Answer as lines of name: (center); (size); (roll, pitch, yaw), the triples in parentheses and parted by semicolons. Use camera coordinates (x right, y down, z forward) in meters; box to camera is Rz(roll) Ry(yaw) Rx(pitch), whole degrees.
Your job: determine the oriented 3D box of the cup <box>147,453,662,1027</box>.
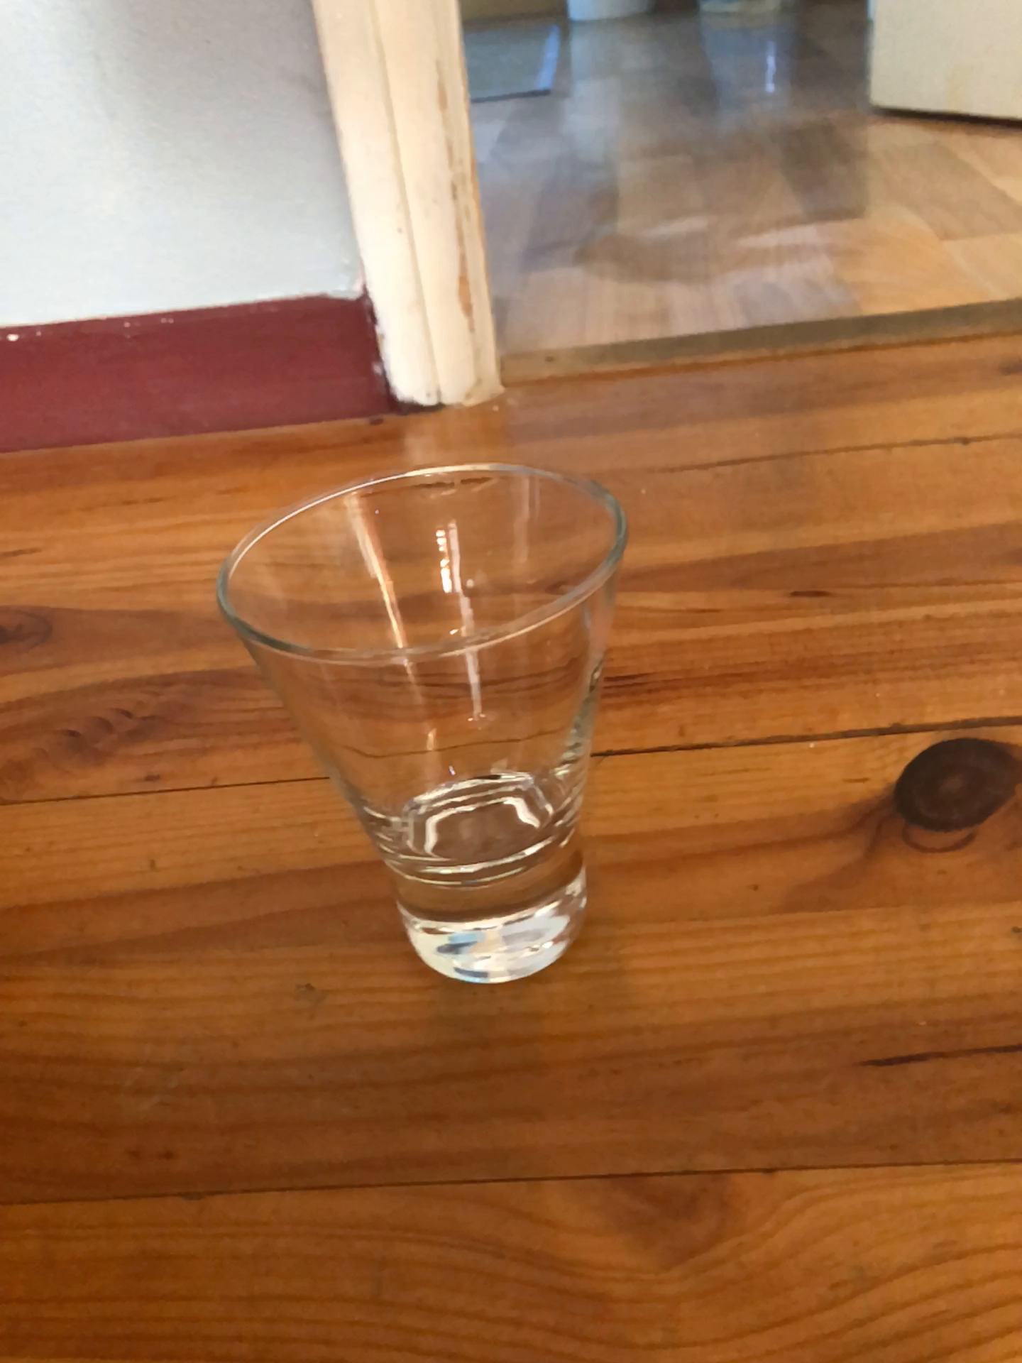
cup: (-0.013, 0.010, 0.270); (0.088, 0.097, 0.092); (-5, 33, 3)
